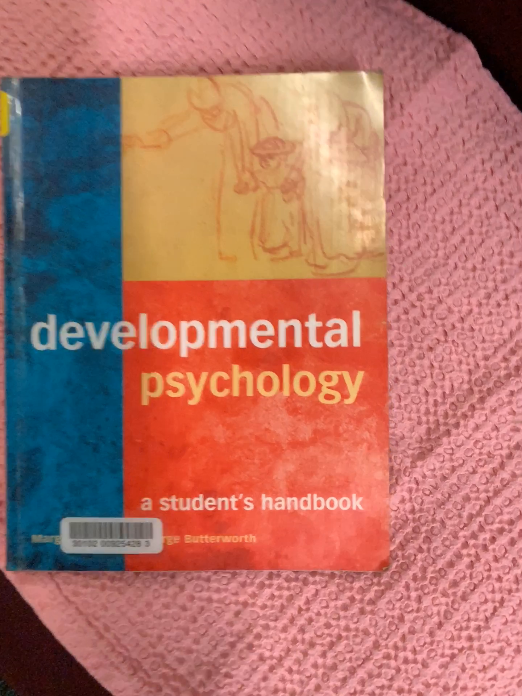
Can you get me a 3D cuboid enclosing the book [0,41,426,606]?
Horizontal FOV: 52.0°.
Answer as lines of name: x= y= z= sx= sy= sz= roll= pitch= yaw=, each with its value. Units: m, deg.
book: x=-0.032 y=-0.014 z=0.270 sx=0.210 sy=0.040 sz=0.260 roll=-1 pitch=88 yaw=0
